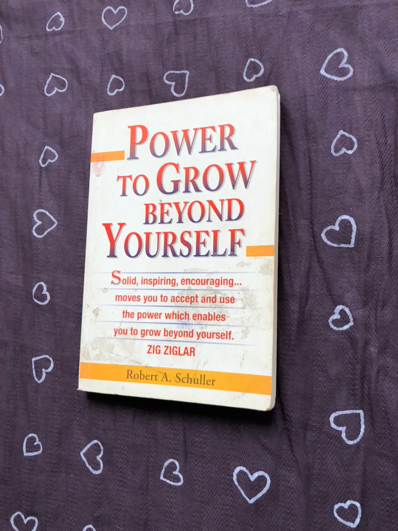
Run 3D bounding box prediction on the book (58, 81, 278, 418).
[{"bbox_3d":[-0.017,-0.011,0.266,0.120,0.030,0.180,1,84,16],"label":"book"}]
